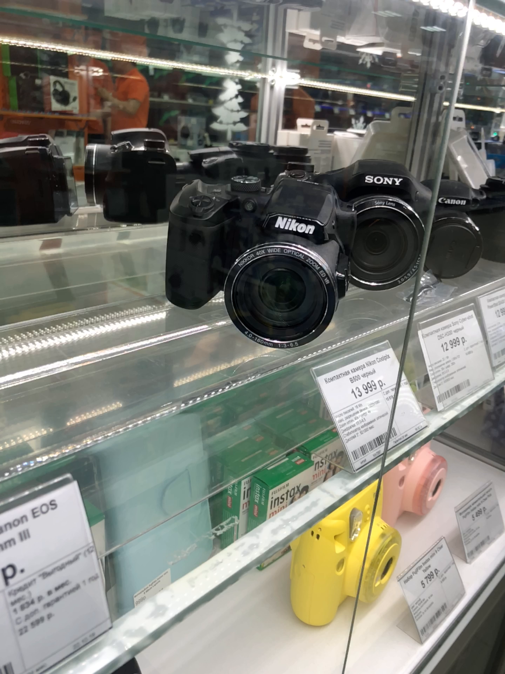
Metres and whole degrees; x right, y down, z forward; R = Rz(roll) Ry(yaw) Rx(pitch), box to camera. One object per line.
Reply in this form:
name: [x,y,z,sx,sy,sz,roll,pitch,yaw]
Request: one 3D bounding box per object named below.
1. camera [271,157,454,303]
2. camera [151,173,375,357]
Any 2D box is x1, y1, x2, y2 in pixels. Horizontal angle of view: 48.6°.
camera: [0.076,-0.086,0.428,0.114,0.084,0.099,4,23,3]
camera: [0.006,-0.049,0.337,0.110,0.080,0.099,6,20,2]
